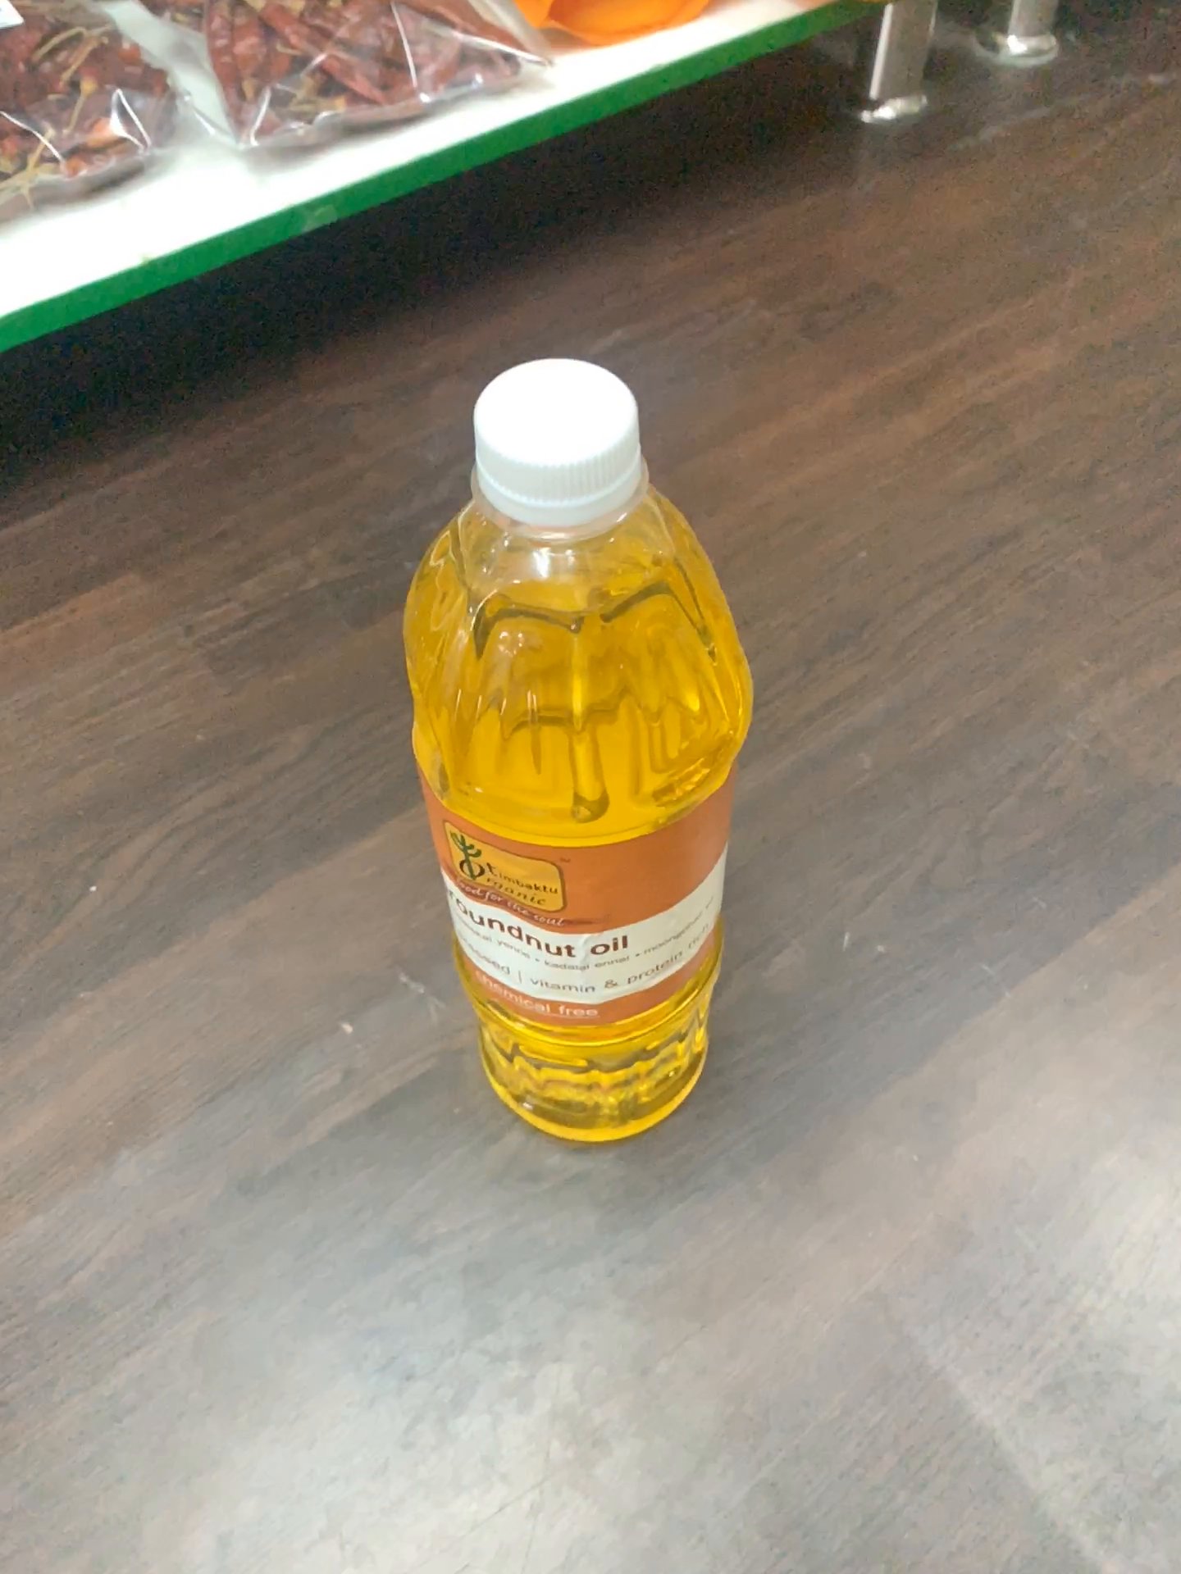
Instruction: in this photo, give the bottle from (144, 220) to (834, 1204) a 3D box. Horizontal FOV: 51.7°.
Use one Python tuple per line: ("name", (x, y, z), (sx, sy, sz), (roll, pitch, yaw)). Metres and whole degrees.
("bottle", (-0.012, 0.011, 0.306), (0.090, 0.259, 0.070), (27, 60, 20))
